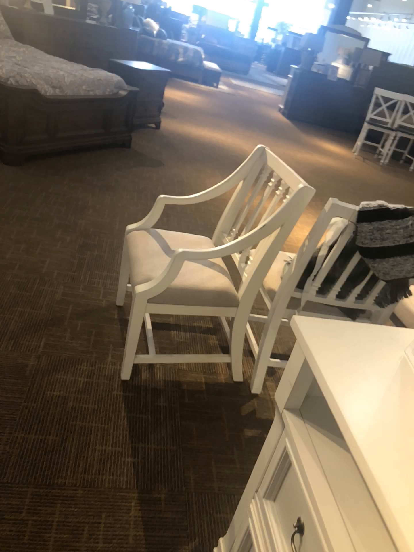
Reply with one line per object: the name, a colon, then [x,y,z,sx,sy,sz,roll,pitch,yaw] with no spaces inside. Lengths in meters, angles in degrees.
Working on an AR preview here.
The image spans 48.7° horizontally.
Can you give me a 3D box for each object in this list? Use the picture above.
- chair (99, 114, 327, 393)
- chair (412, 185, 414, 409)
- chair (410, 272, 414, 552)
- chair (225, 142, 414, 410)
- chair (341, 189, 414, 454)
chair: [-0.050,-0.097,1.924,0.630,0.886,0.653,9,28,-12]
chair: [1.689,0.116,2.446,0.600,0.955,0.543,12,28,-6]
chair: [1.392,0.591,1.519,0.870,0.886,0.603,10,28,-9]
chair: [0.490,-0.008,1.996,0.560,0.886,0.643,10,28,-10]
chair: [1.156,0.203,2.002,0.680,0.886,0.583,10,28,-10]
